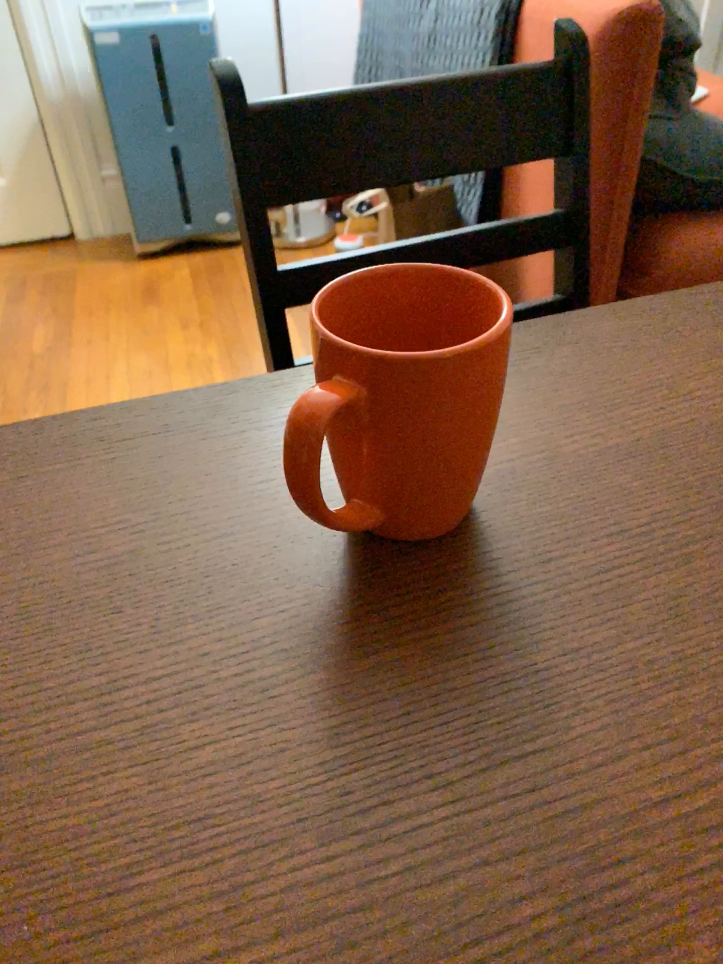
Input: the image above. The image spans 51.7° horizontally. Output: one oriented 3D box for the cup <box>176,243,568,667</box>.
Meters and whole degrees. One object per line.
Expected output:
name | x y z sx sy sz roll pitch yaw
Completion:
cup | 0.011 -0.020 0.328 0.100 0.109 0.130 21 45 26
